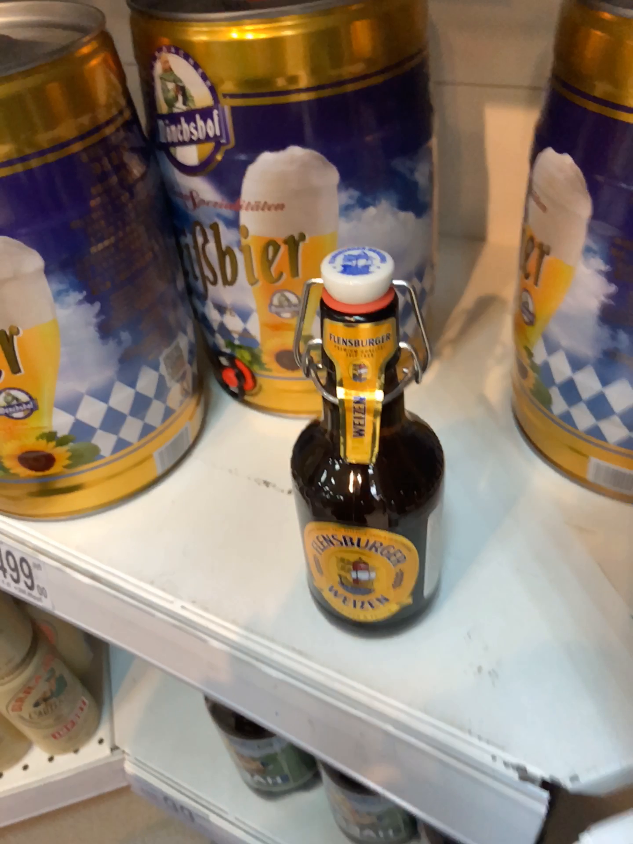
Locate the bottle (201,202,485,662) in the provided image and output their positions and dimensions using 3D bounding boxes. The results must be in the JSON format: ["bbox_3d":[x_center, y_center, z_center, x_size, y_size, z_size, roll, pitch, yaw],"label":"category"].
[{"bbox_3d":[0.023,0.012,0.312,0.080,0.189,0.080,-5,42,4],"label":"bottle"}]
